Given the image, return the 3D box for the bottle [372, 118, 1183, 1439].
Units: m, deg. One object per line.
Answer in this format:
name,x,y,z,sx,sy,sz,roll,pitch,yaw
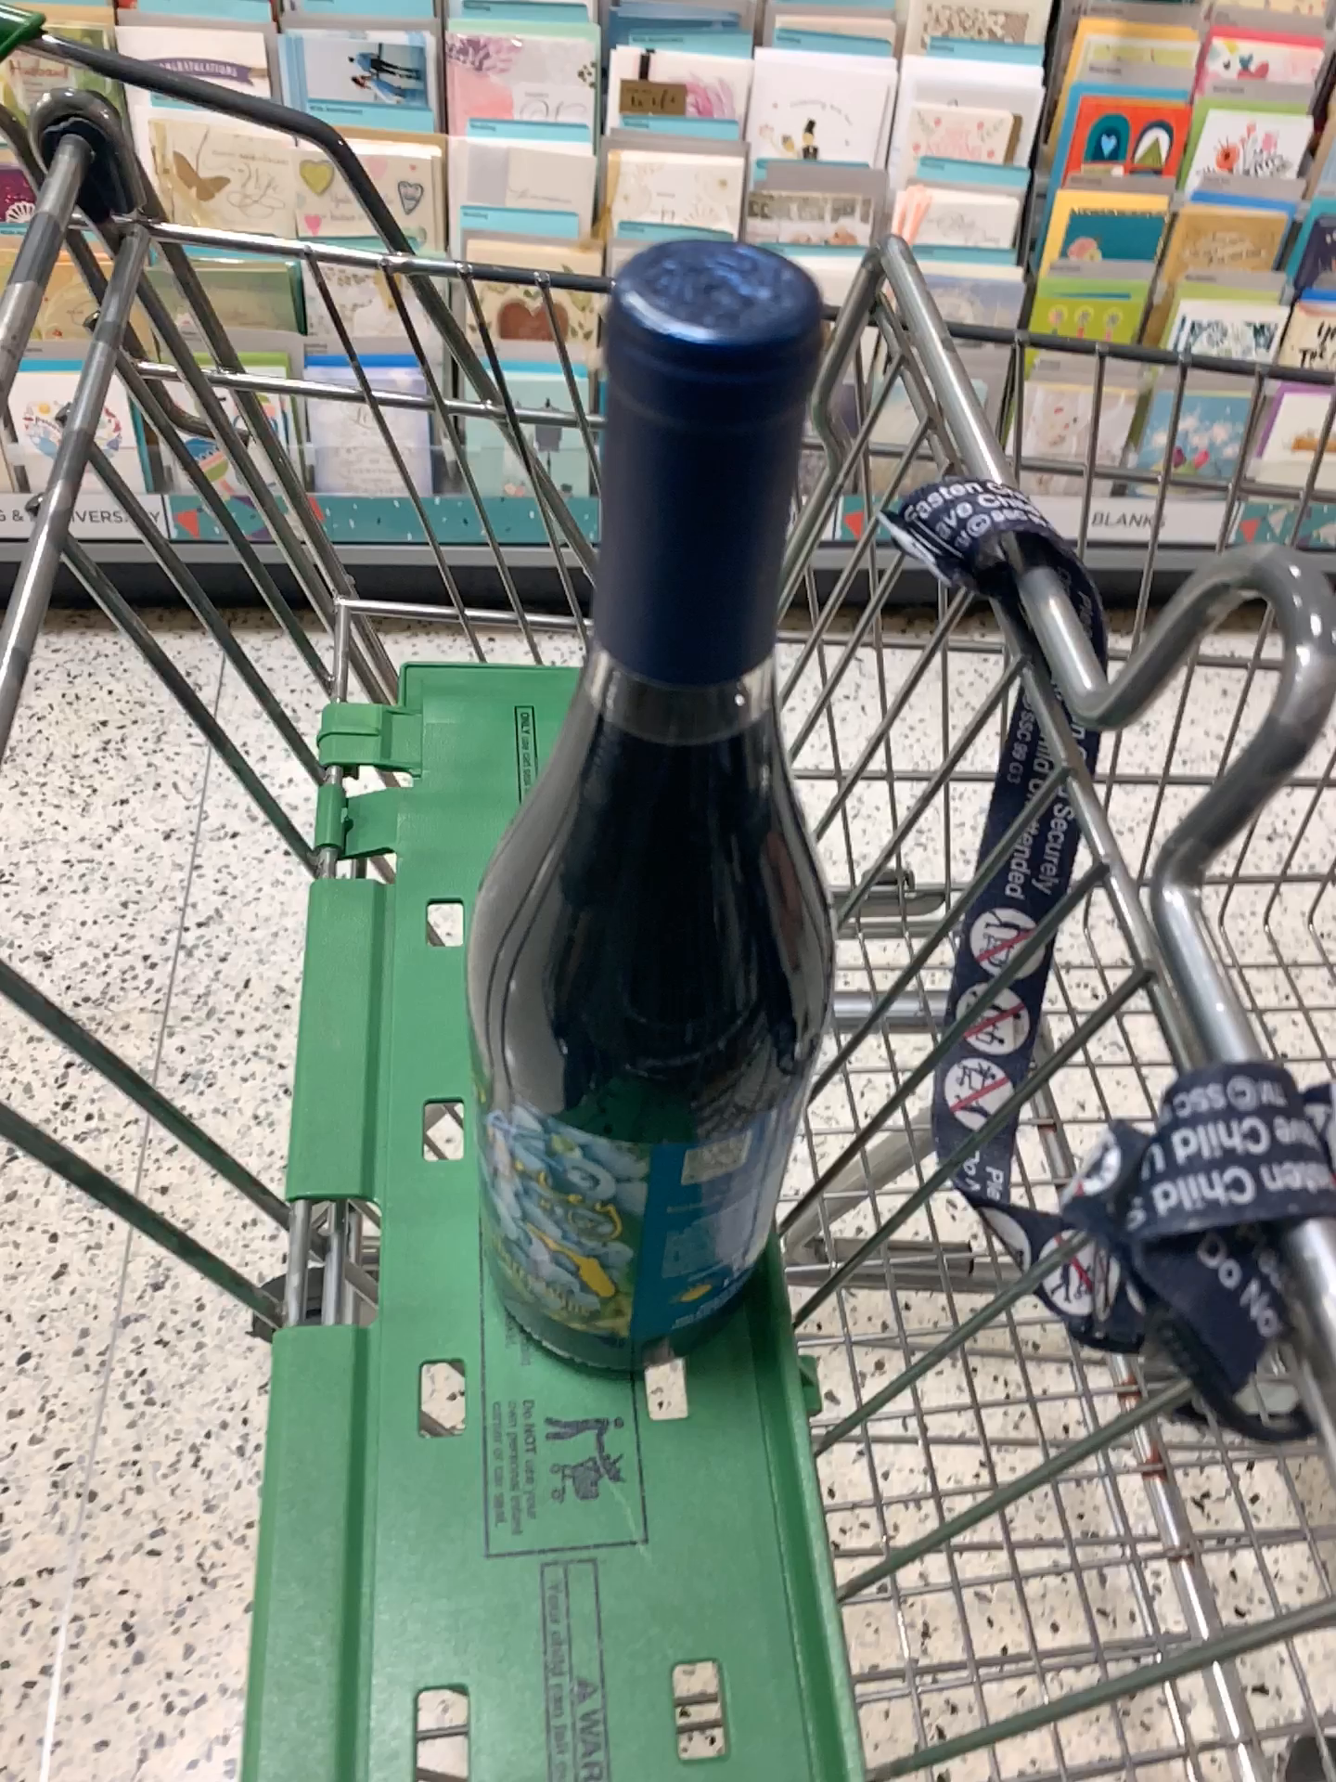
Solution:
bottle,-0.001,0.013,0.283,0.075,0.286,0.081,3,50,-4
